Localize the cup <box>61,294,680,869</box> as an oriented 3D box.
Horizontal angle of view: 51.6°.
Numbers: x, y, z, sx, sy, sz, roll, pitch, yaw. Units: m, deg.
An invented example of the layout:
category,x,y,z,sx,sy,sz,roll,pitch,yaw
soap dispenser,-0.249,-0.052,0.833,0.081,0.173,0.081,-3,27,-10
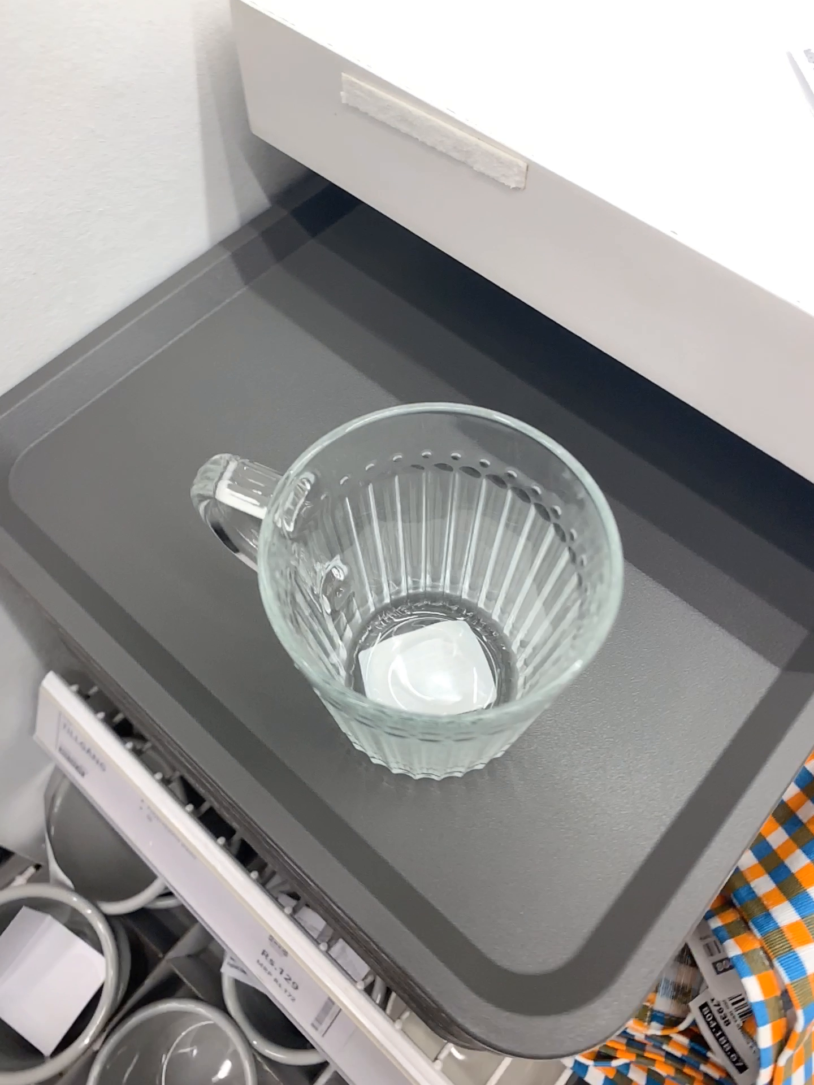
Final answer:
category,x,y,z,sx,sy,sz,roll,pitch,yaw
cup,-0.008,0.011,0.220,0.110,0.080,0.080,30,64,16
